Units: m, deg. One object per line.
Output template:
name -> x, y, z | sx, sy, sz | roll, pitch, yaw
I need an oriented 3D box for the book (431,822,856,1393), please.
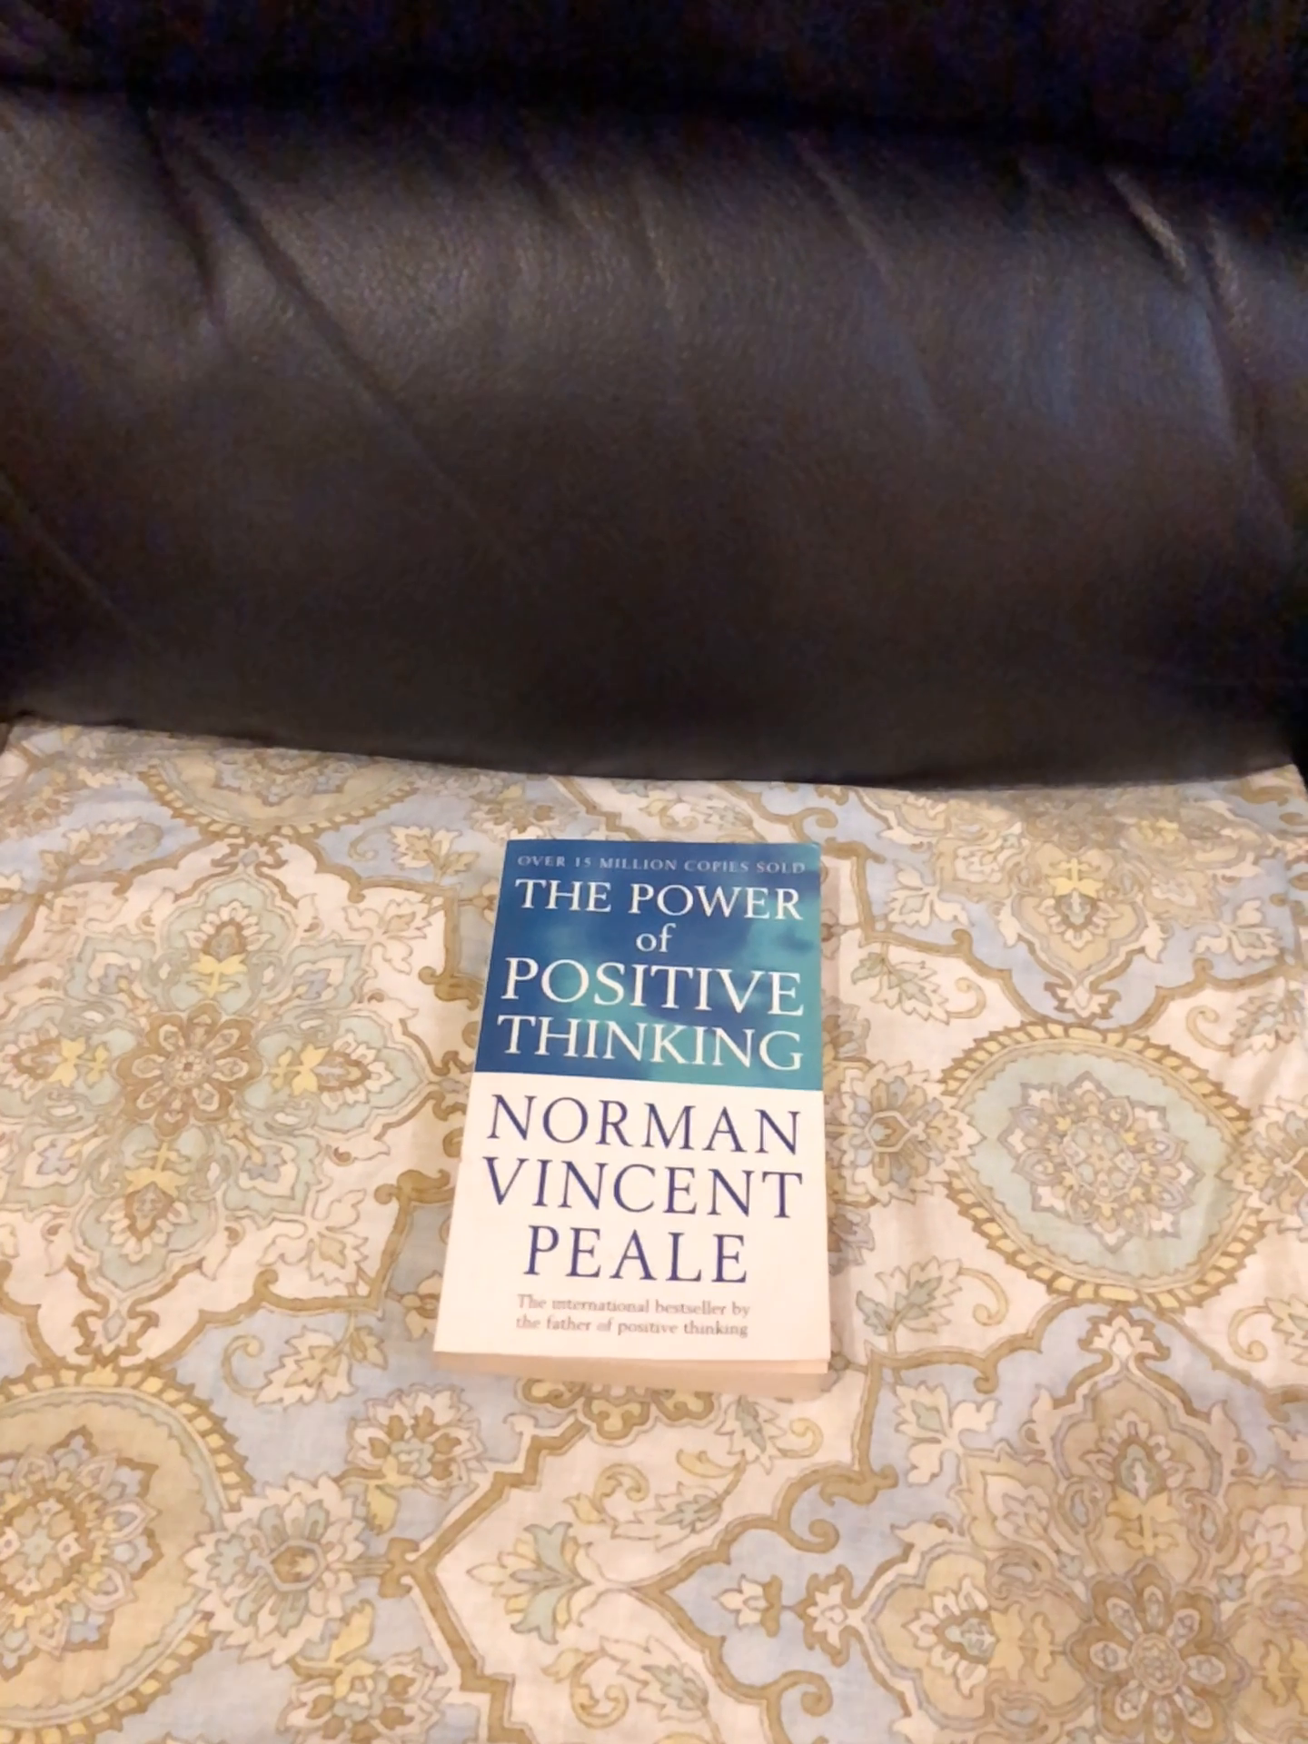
book -> 0.000, 0.069, 0.469 | 0.120, 0.030, 0.183 | 2, 57, 1
